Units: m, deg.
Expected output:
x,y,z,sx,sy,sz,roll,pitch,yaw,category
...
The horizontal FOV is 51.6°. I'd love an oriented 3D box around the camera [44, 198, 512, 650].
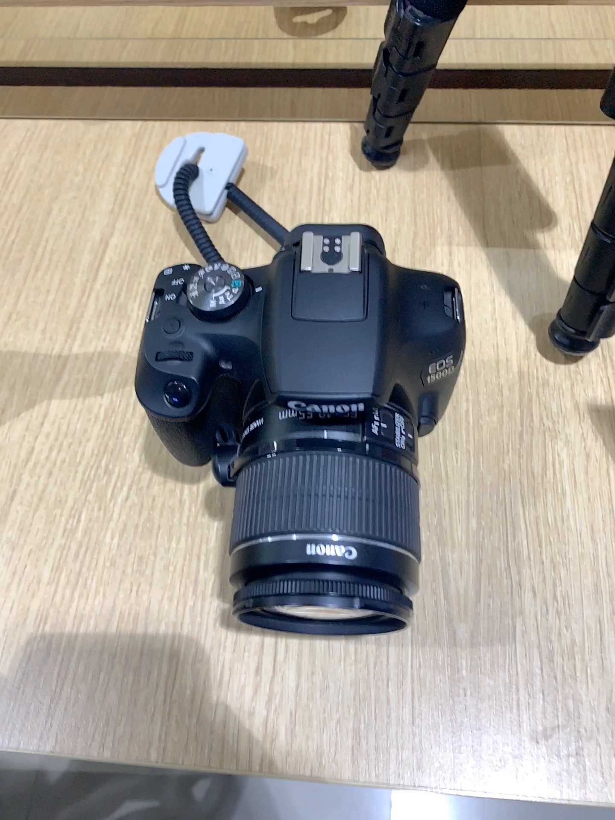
x,y,z,sx,sy,sz,roll,pitch,yaw,category
-0.003,0.005,0.236,0.121,0.088,0.140,1,61,4,camera
